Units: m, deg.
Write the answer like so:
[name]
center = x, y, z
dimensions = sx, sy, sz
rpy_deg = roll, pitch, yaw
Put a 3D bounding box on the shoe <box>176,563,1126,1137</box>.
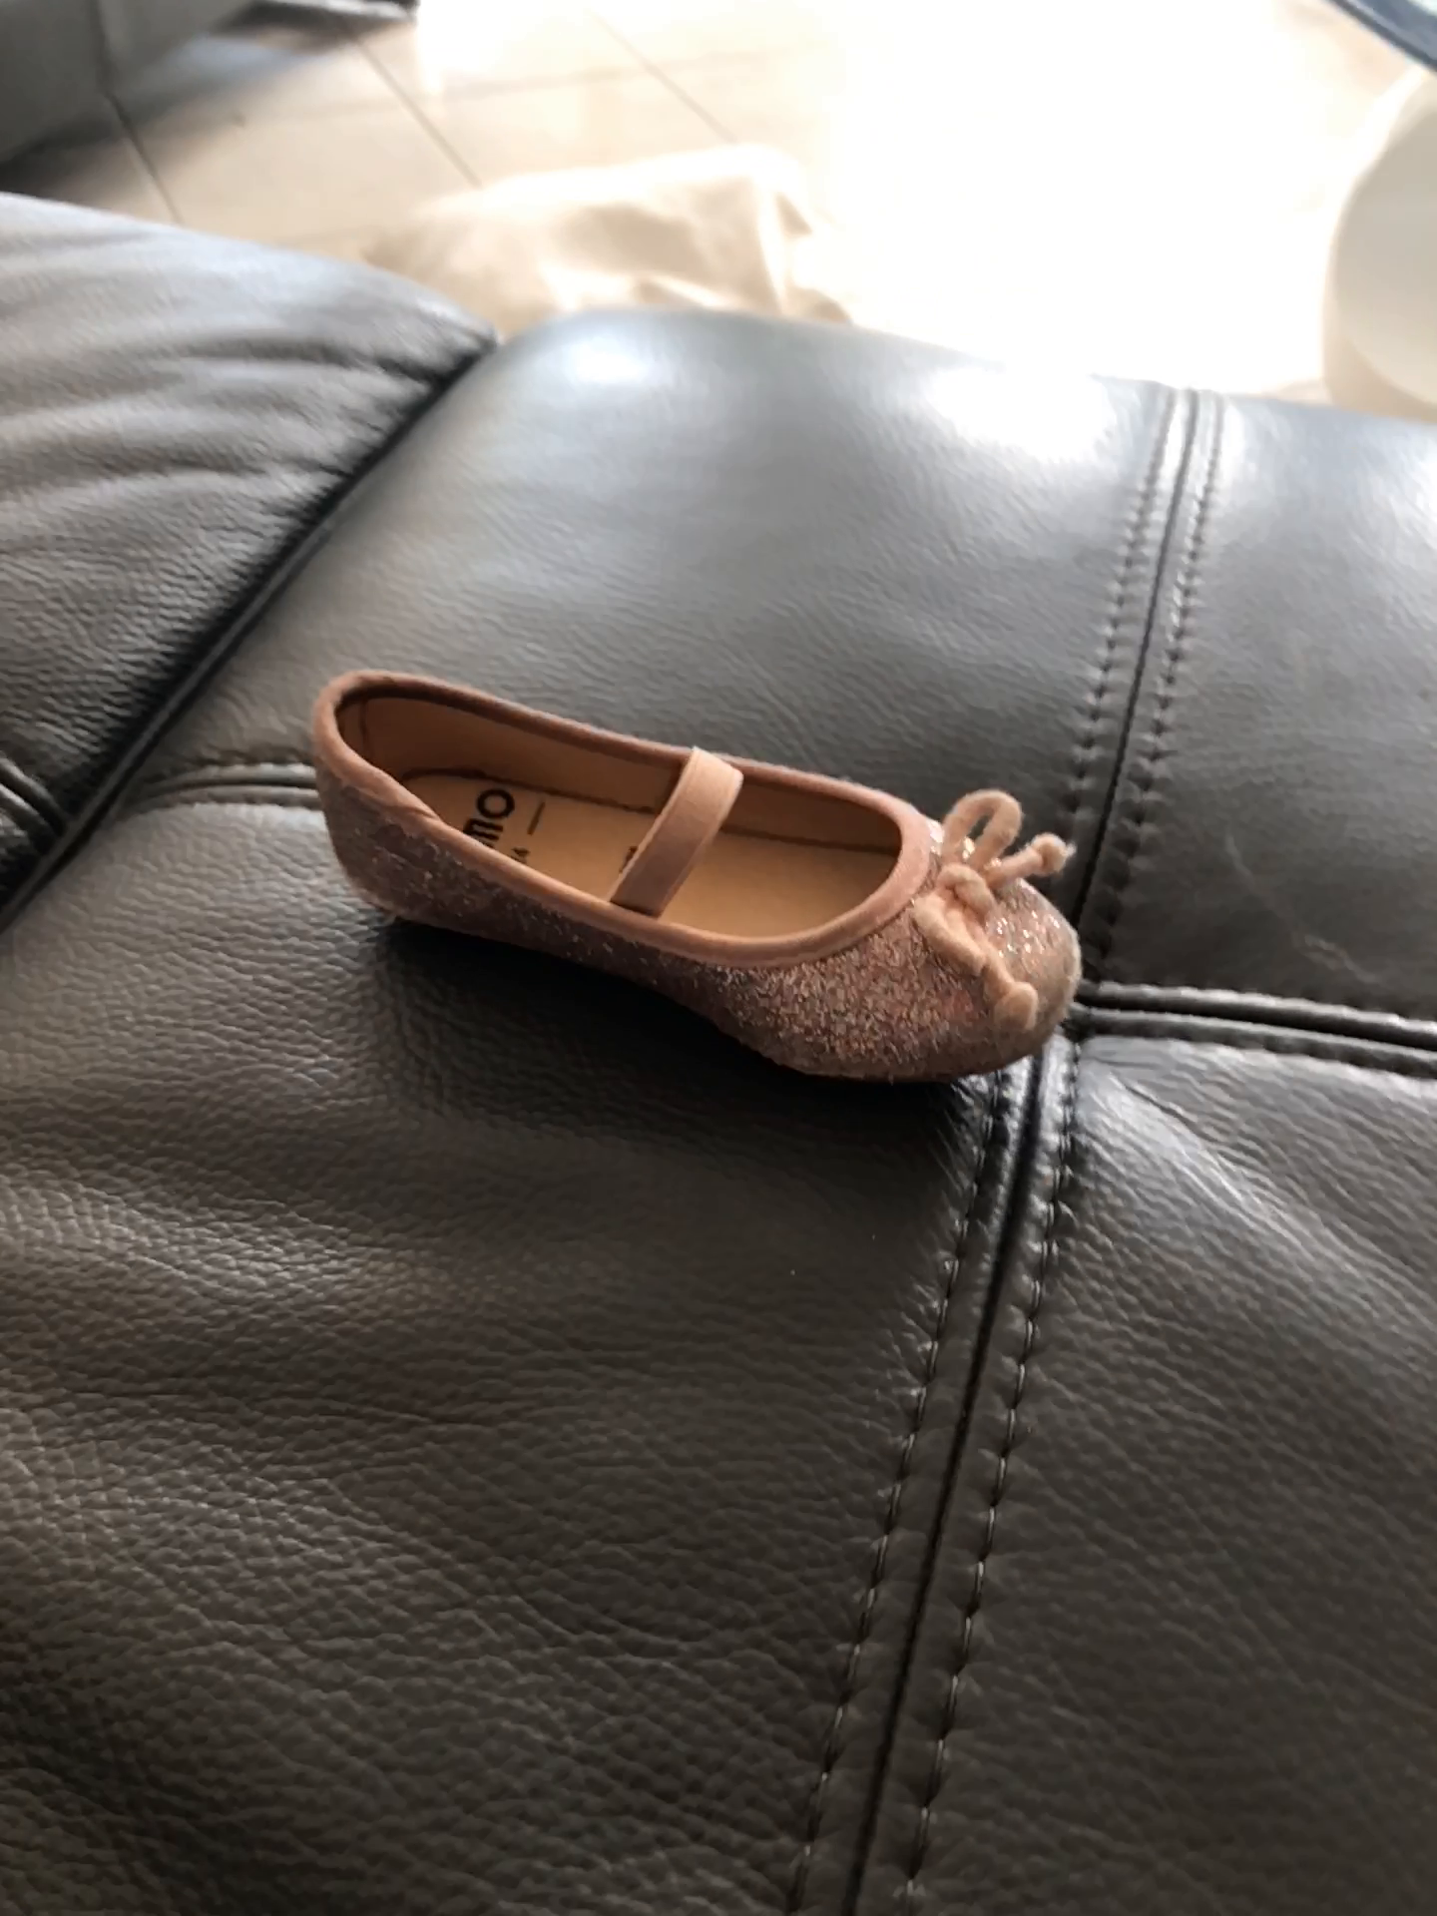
[shoe]
center = -0.010, -0.025, 0.307
dimensions = 0.160, 0.040, 0.070
rpy_deg = 14, 49, 10
